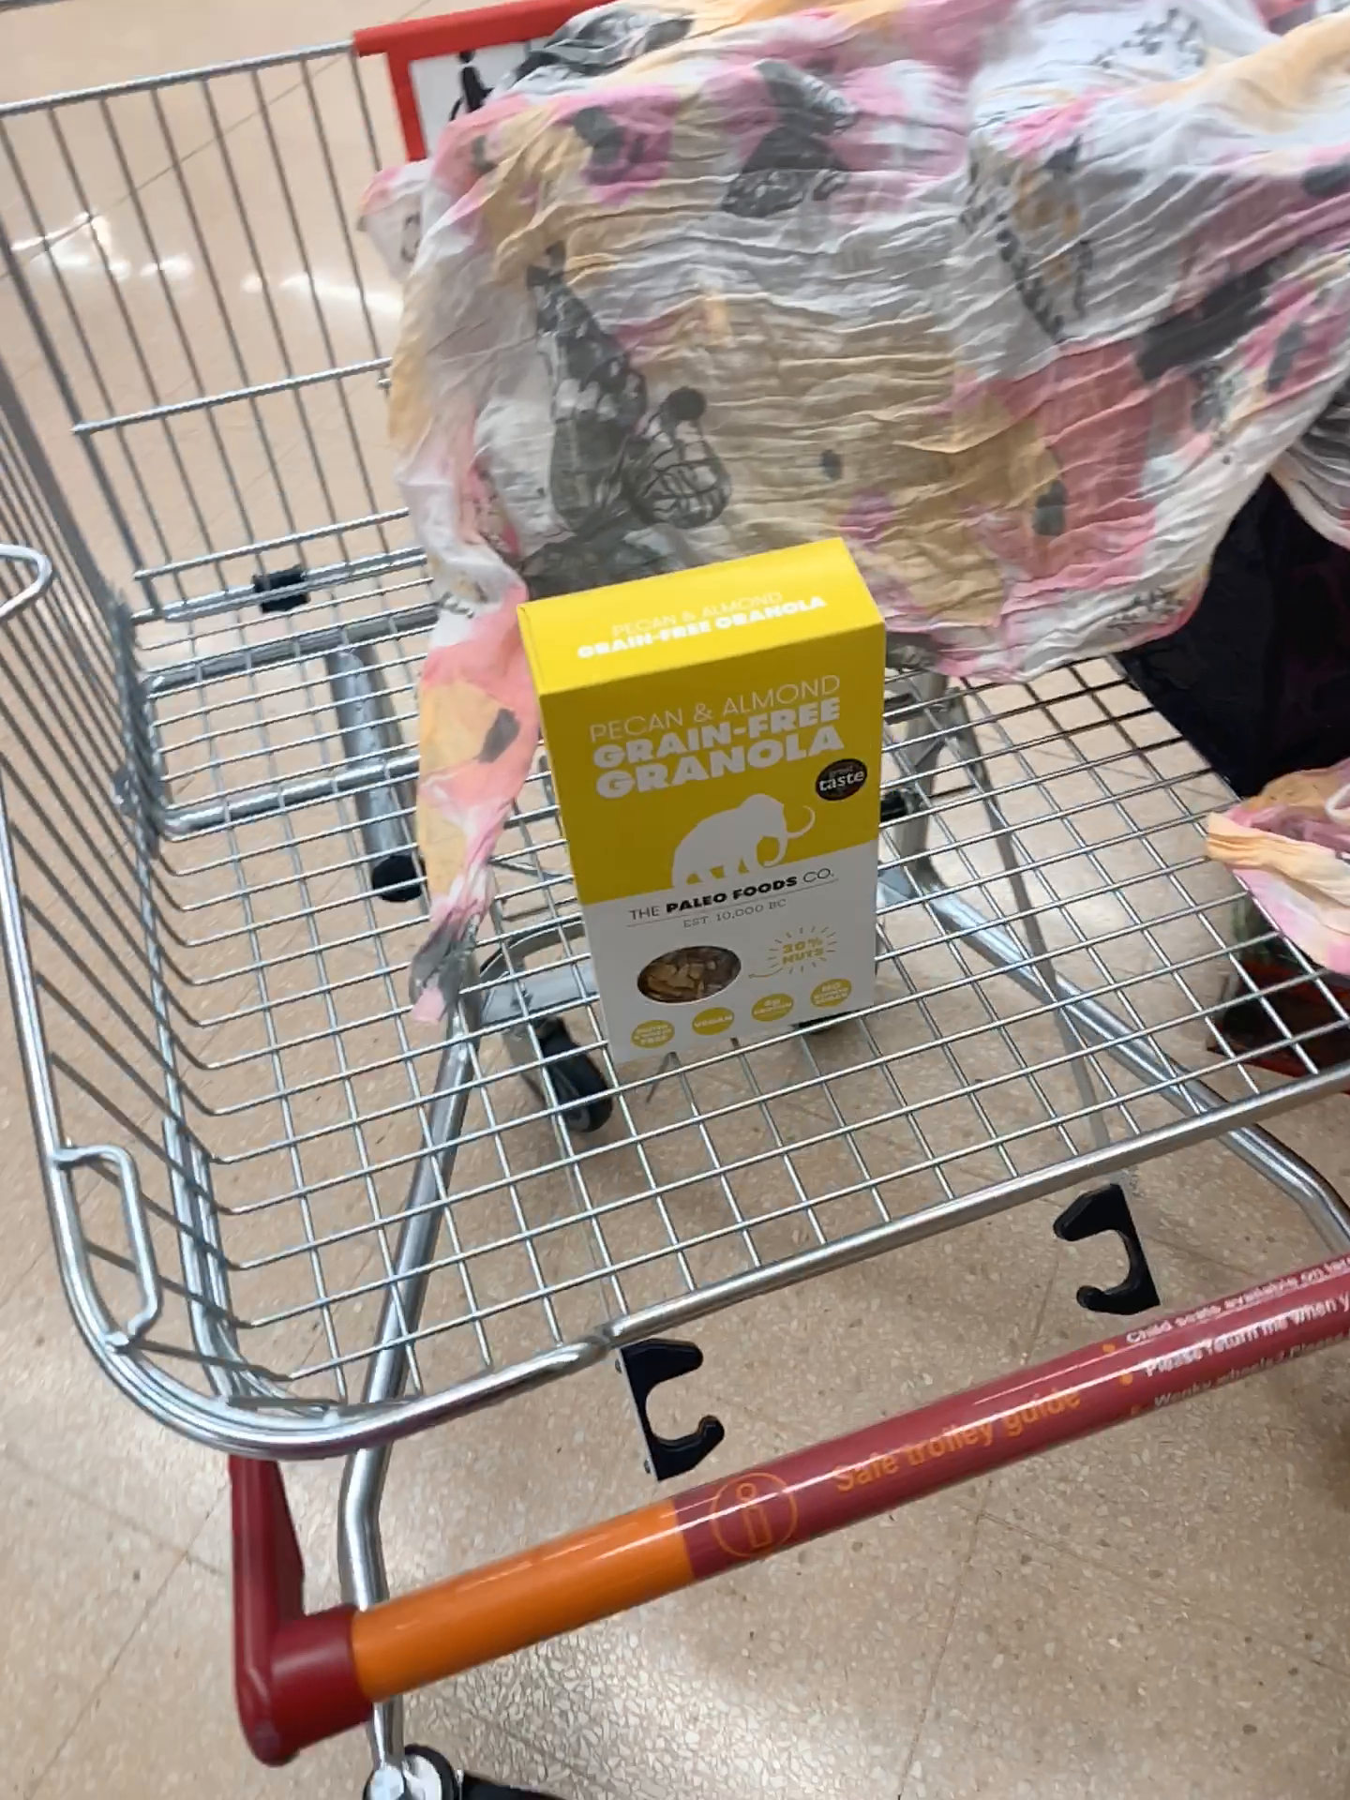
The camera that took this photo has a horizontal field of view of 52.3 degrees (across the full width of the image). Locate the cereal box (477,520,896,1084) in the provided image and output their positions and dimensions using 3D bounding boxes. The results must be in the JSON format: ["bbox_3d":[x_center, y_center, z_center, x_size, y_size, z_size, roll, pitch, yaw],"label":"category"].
[{"bbox_3d":[0.009,-0.029,0.534,0.130,0.208,0.061,-12,46,-6],"label":"cereal box"}]
